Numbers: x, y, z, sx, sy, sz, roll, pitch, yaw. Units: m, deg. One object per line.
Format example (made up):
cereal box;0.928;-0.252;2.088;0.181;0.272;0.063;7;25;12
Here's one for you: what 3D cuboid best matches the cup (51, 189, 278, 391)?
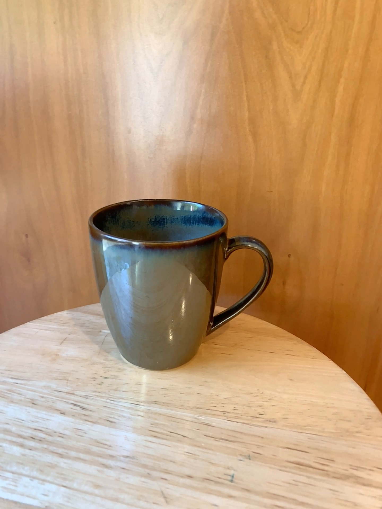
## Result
cup;-0.010;0.015;0.257;0.120;0.090;0.080;6;23;11
